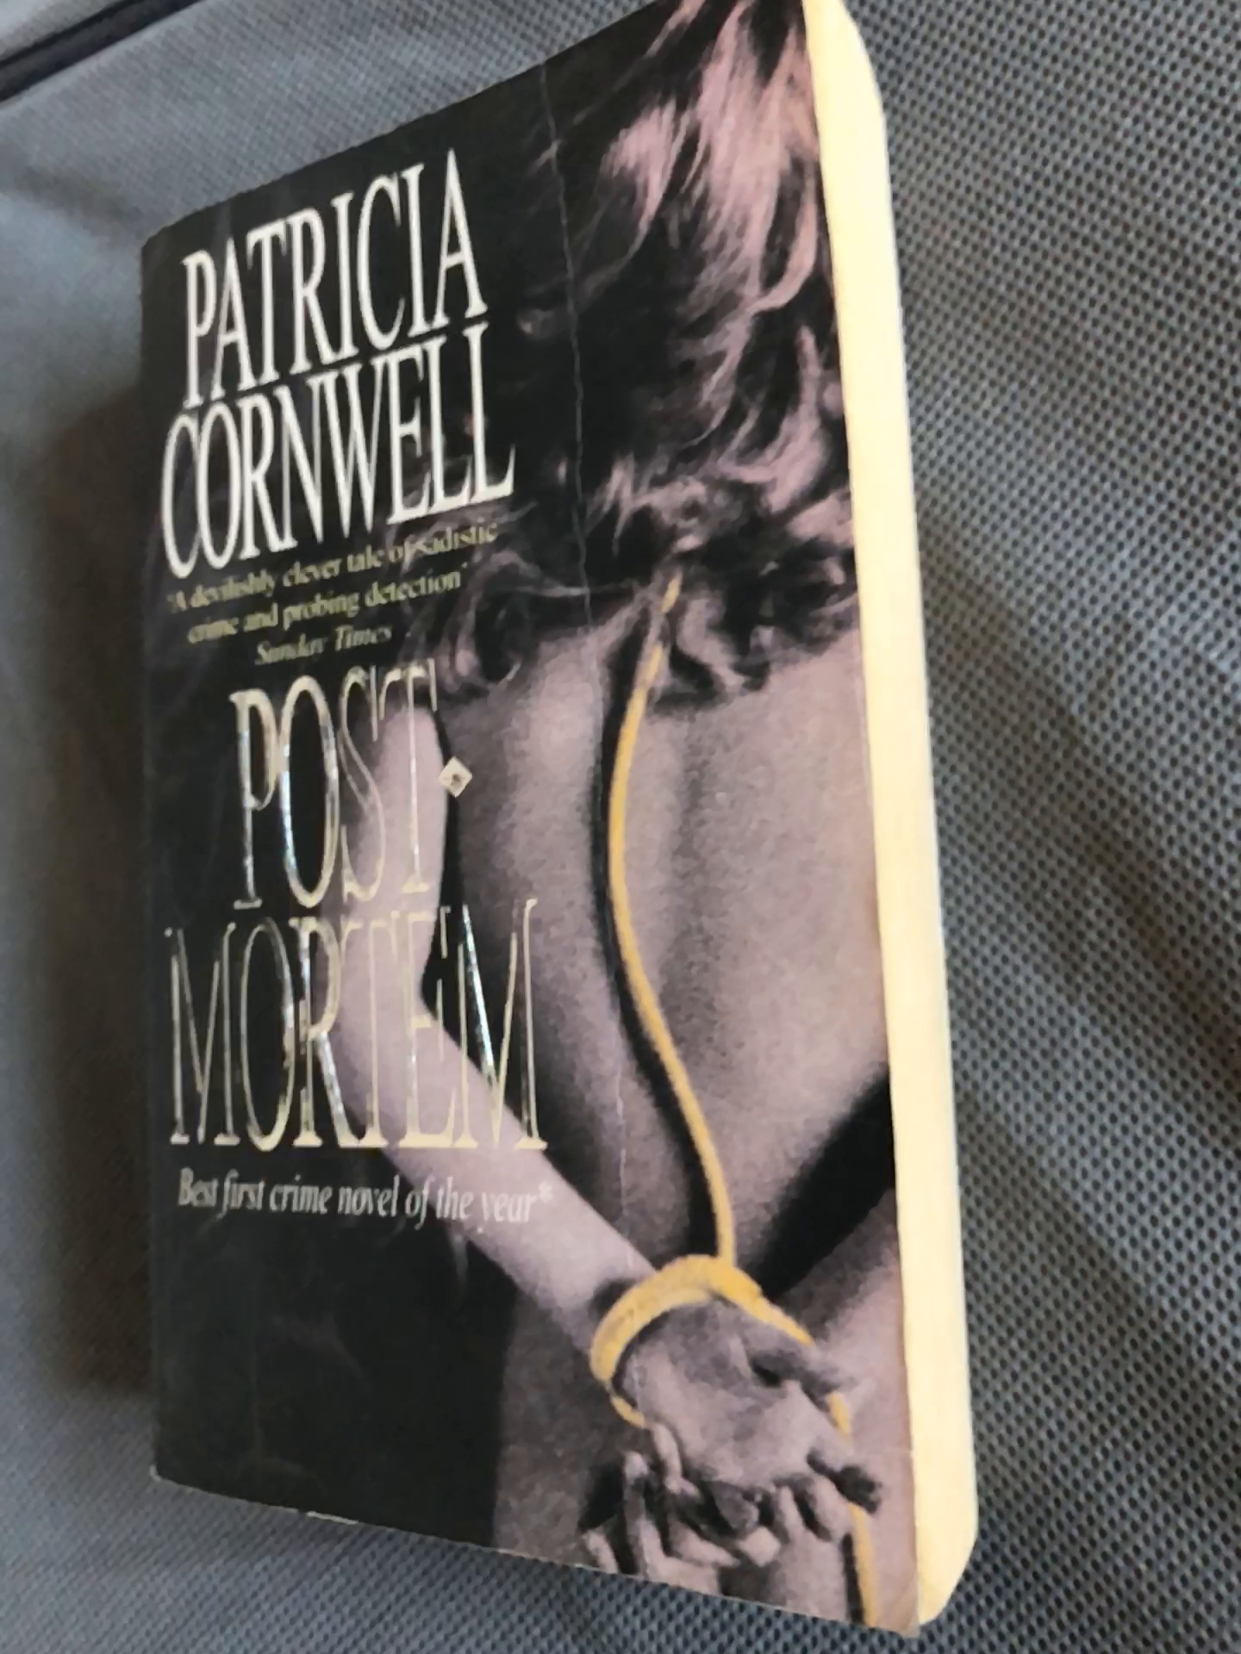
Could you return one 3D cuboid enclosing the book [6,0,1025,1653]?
[{"bbox_3d":[-0.017,-0.008,0.177,0.110,0.050,0.180,-6,81,28],"label":"book"}]
